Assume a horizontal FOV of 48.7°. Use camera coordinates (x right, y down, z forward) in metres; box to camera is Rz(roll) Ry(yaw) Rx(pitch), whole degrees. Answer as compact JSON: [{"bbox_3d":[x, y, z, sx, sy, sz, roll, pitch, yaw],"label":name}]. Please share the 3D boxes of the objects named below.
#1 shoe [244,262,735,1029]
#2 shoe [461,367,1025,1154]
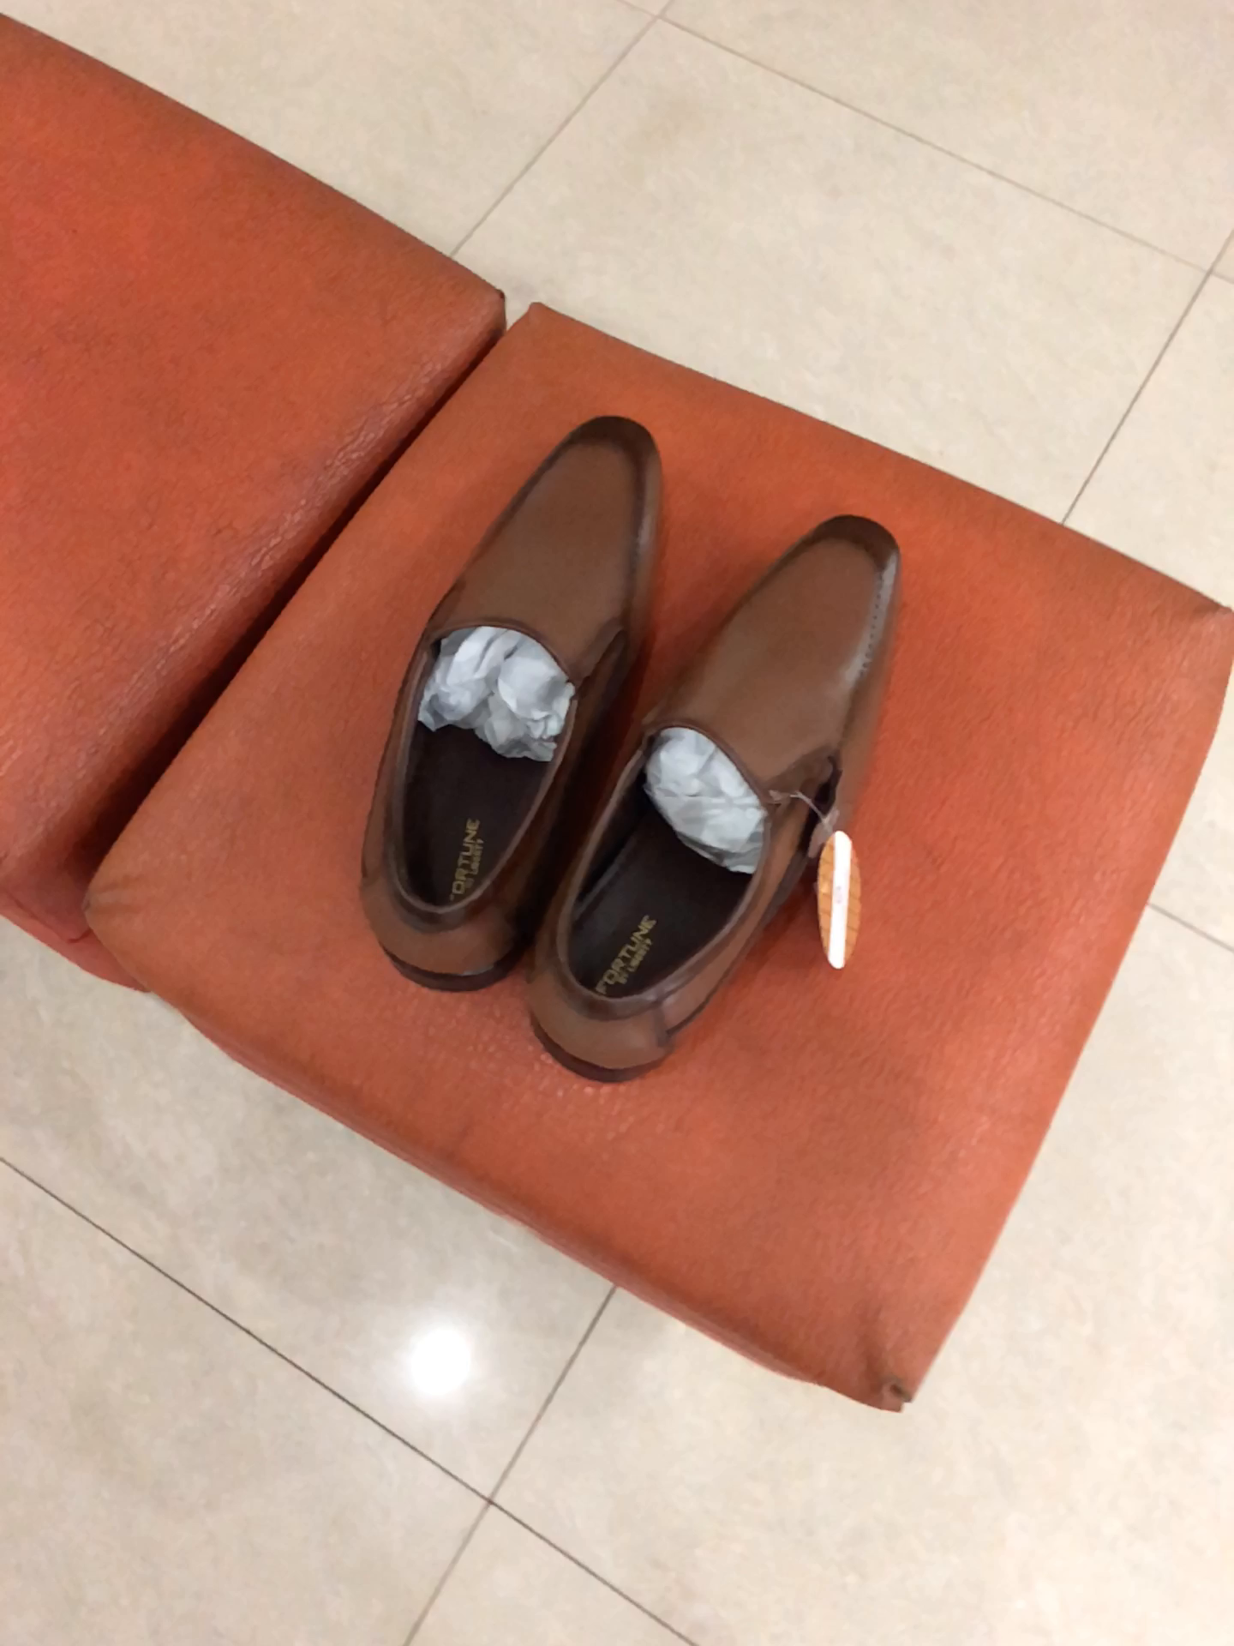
[{"bbox_3d":[-0.042,-0.078,0.582,0.101,0.108,0.295,16,69,5],"label":"shoe"},{"bbox_3d":[0.055,-0.025,0.574,0.099,0.128,0.293,26,70,8],"label":"shoe"}]
